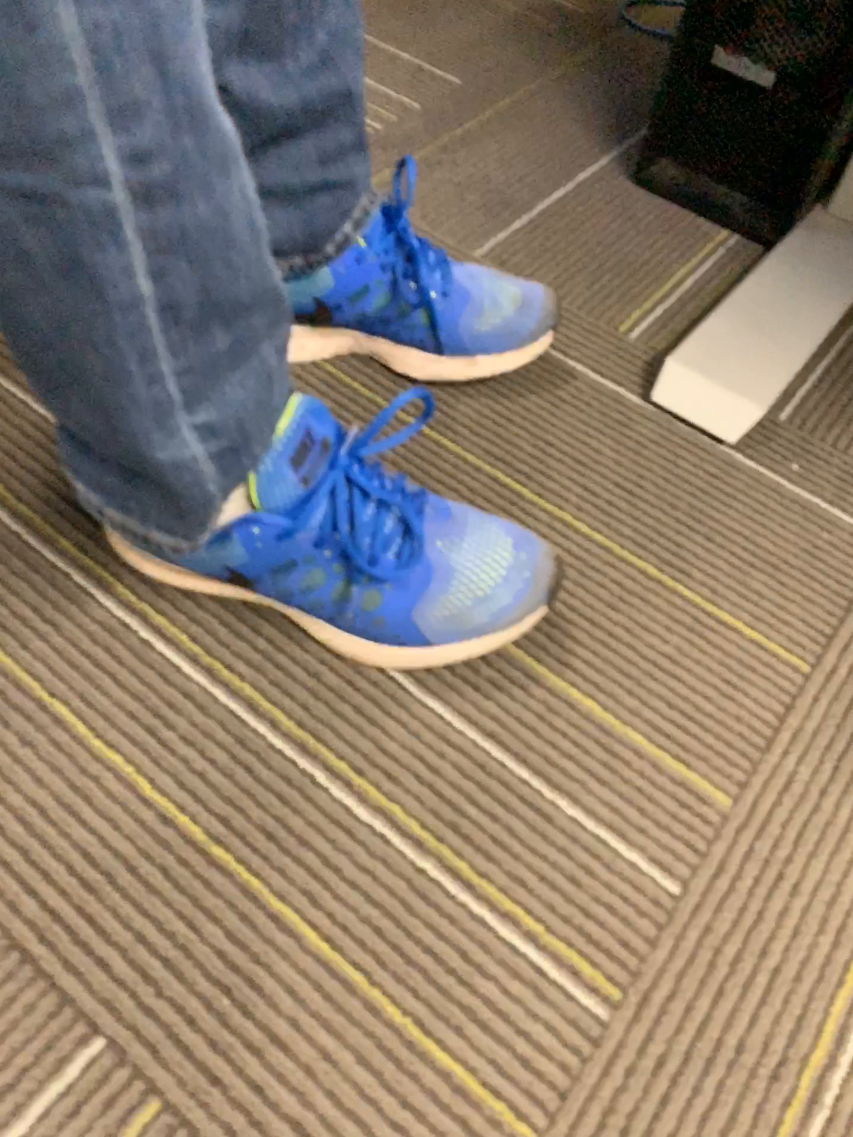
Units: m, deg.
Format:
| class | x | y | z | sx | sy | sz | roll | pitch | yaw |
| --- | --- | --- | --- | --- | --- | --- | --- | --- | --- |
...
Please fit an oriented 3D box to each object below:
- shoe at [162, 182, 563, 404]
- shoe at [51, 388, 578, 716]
| class | x | y | z | sx | sy | sz | roll | pitch | yaw |
| --- | --- | --- | --- | --- | --- | --- | --- | --- | --- |
| shoe | -0.044 | -0.212 | 0.665 | 0.278 | 0.083 | 0.117 | 5 | 54 | -3 |
| shoe | -0.060 | -0.012 | 0.529 | 0.278 | 0.083 | 0.118 | 13 | 54 | 3 |
